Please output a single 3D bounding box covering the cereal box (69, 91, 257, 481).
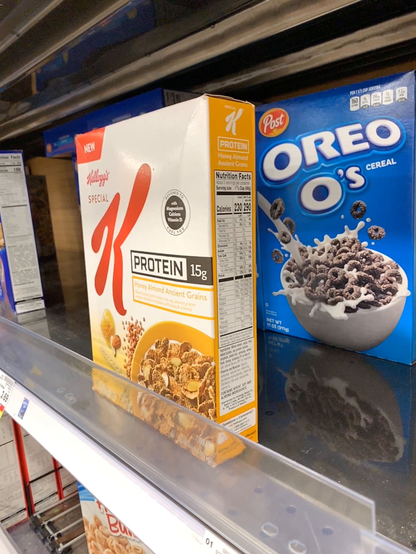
[{"bbox_3d":[-0.048,0.001,0.361,0.040,0.250,0.200,-8,11,-39],"label":"cereal box"}]
